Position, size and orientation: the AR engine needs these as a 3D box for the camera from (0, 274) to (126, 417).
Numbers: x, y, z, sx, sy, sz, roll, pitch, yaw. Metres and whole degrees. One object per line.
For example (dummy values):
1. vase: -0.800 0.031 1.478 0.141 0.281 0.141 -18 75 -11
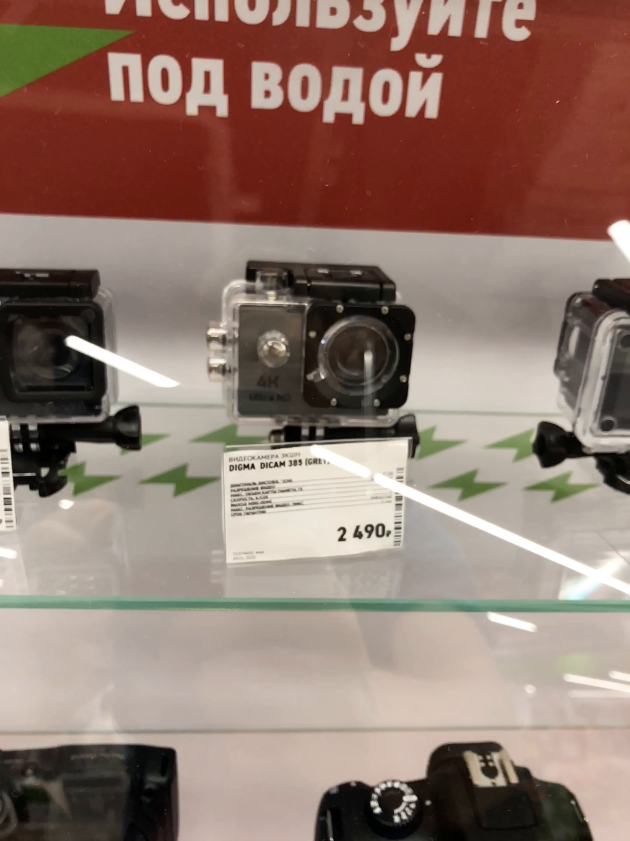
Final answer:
1. camera: -0.110 -0.029 0.265 0.072 0.046 0.036 -1 17 -9

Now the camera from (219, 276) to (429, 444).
1. camera: 0.001 -0.026 0.290 0.077 0.055 0.048 1 21 -5
